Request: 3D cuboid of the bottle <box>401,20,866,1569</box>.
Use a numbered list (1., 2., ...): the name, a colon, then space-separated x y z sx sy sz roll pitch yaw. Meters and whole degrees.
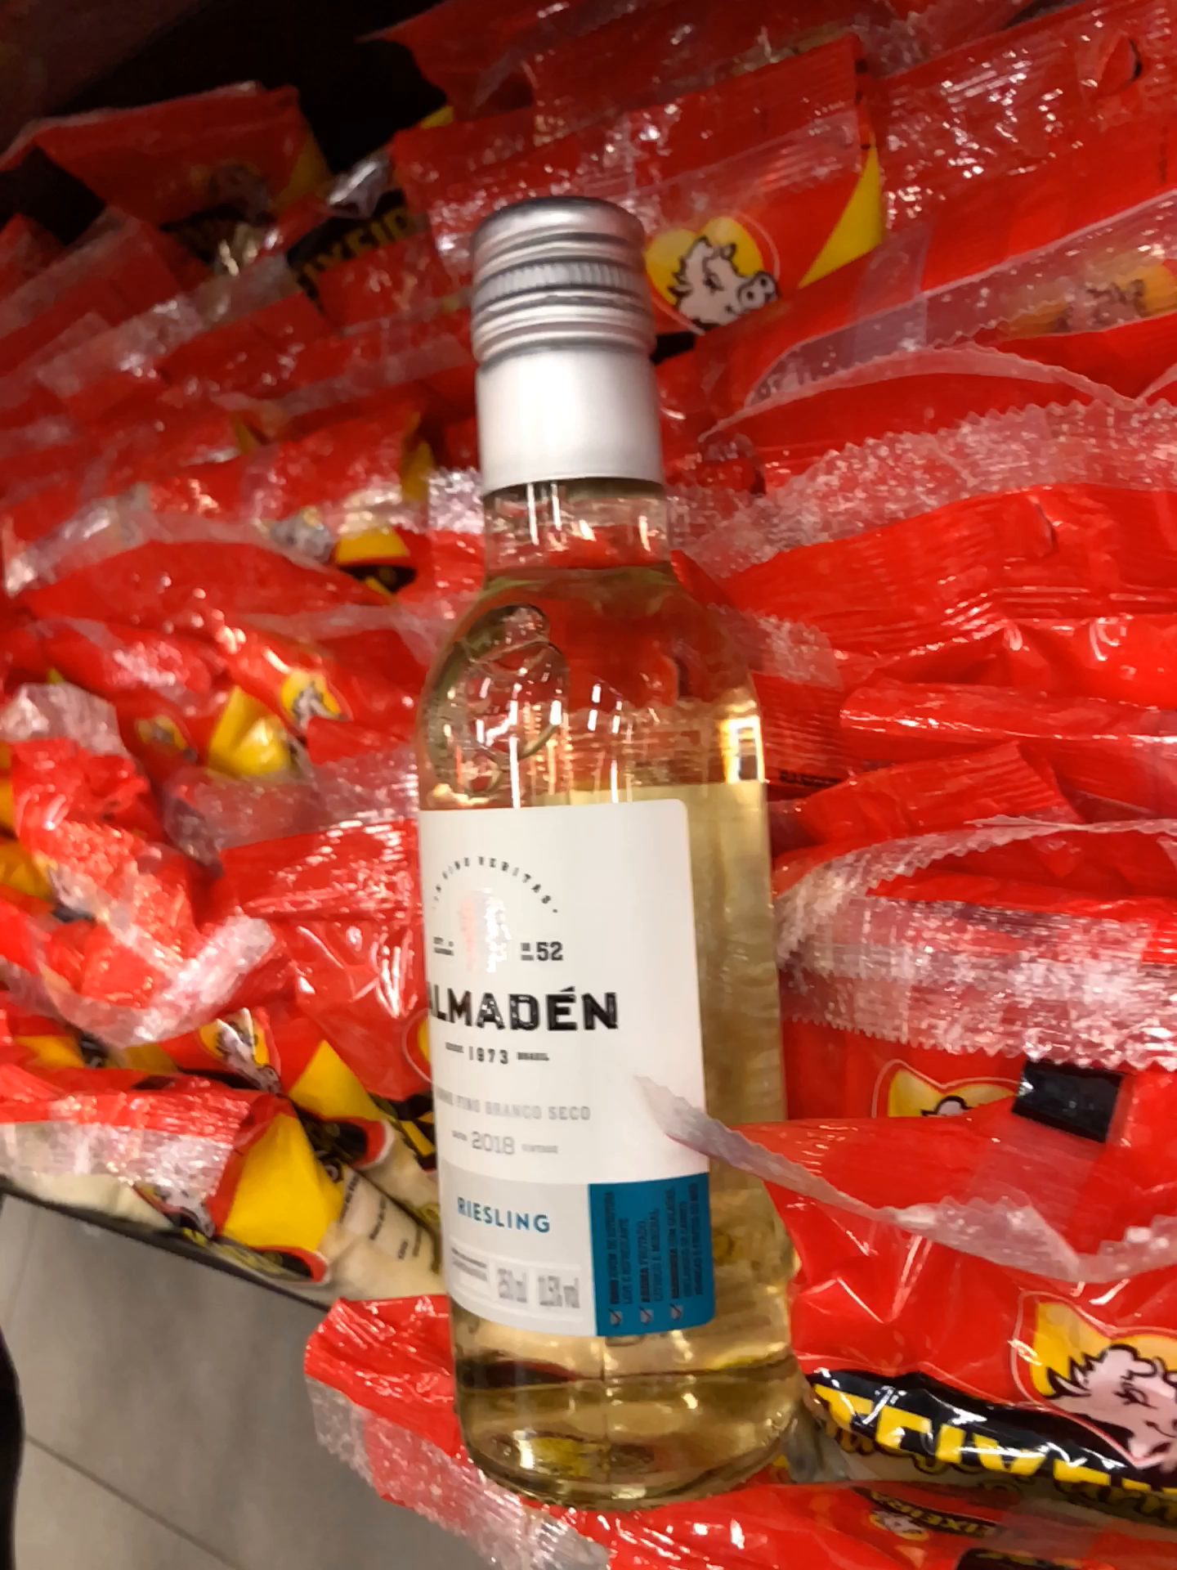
1. bottle: 0.006 0.003 0.209 0.060 0.040 0.210 -2 87 41
